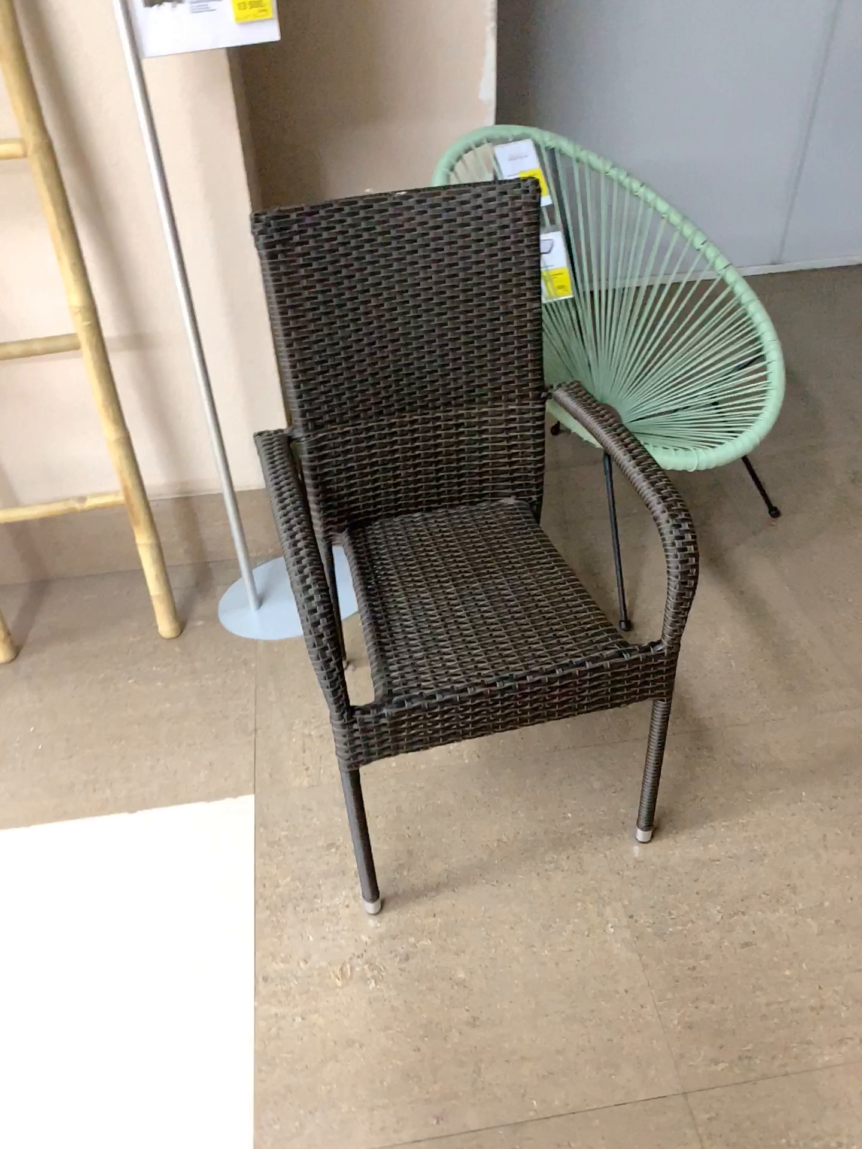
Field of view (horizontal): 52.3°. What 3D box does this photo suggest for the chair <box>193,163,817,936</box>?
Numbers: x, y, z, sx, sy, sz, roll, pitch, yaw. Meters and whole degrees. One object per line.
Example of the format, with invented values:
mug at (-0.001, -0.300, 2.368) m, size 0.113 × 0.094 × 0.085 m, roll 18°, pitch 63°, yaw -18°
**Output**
chair at (0.042, -0.037, 1.442) m, size 0.620 × 0.956 × 0.683 m, roll -11°, pitch 41°, yaw -10°
